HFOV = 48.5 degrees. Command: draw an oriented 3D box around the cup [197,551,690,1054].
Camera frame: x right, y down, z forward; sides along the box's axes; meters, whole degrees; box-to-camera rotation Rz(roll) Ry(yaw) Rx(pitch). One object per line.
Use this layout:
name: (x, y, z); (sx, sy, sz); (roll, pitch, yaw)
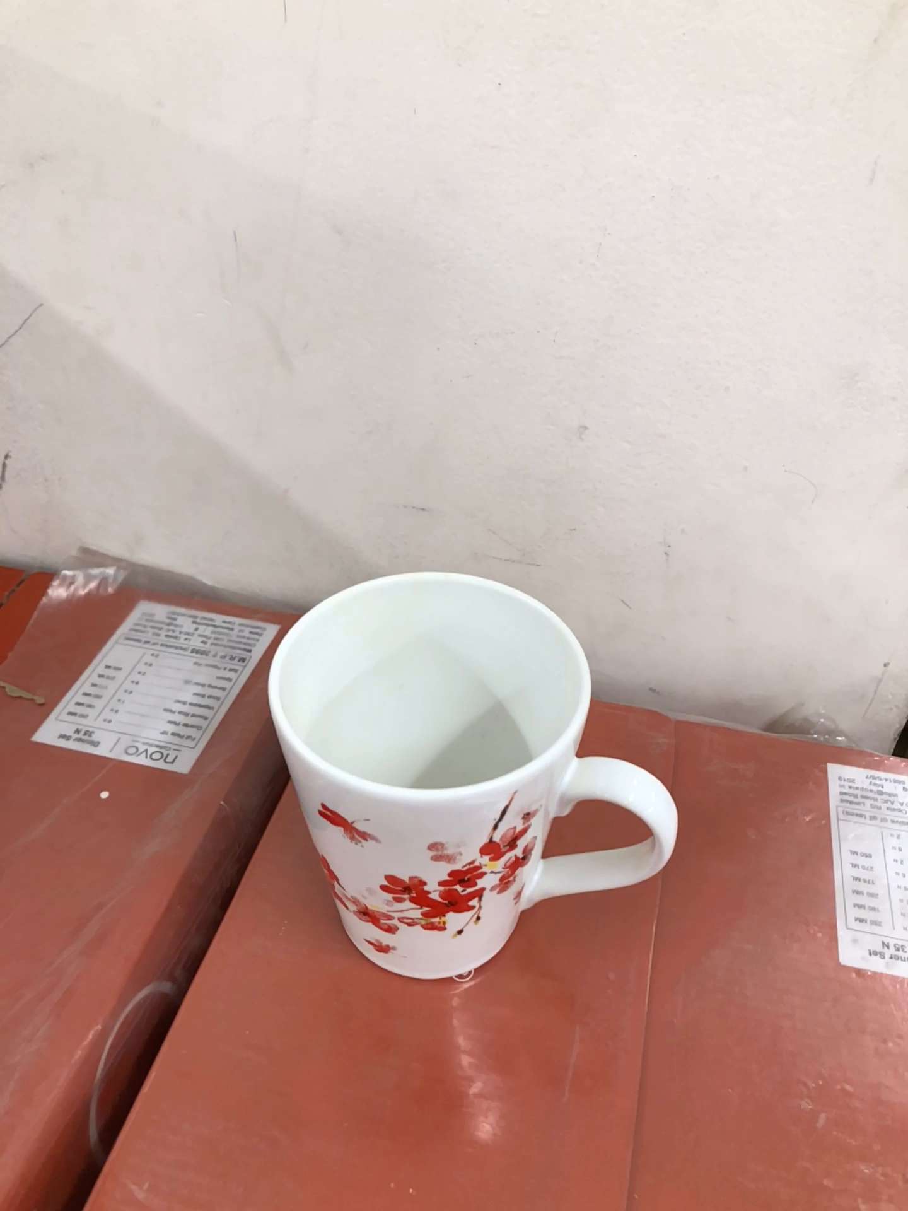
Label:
cup: (0.002, 0.054, 0.284); (0.110, 0.099, 0.081); (7, 40, 7)
